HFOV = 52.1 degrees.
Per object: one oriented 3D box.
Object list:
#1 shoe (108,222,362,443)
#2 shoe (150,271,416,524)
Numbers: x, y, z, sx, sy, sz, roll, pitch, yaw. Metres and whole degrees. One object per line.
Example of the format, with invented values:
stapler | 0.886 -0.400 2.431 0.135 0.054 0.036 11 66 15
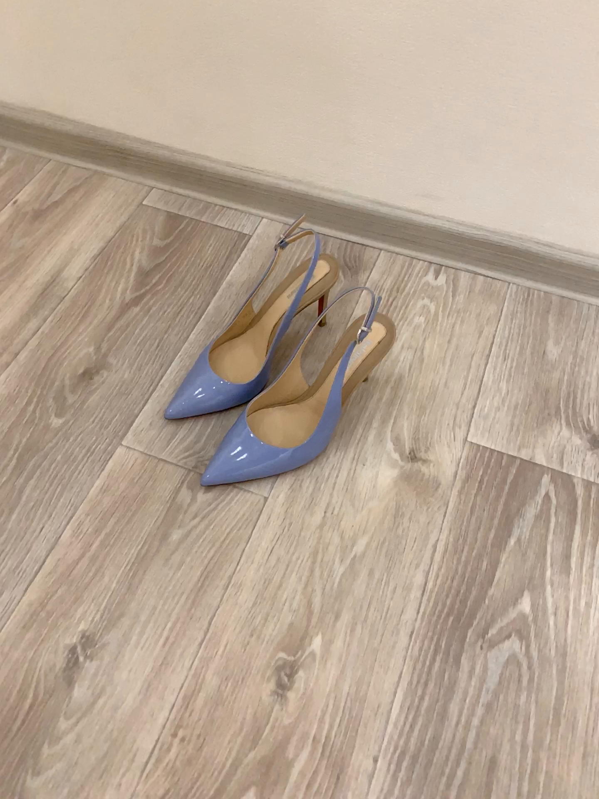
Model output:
shoe | -0.058 -0.072 0.624 0.230 0.100 0.090 -32 62 -20
shoe | -0.009 -0.006 0.576 0.230 0.100 0.089 -37 64 -22
